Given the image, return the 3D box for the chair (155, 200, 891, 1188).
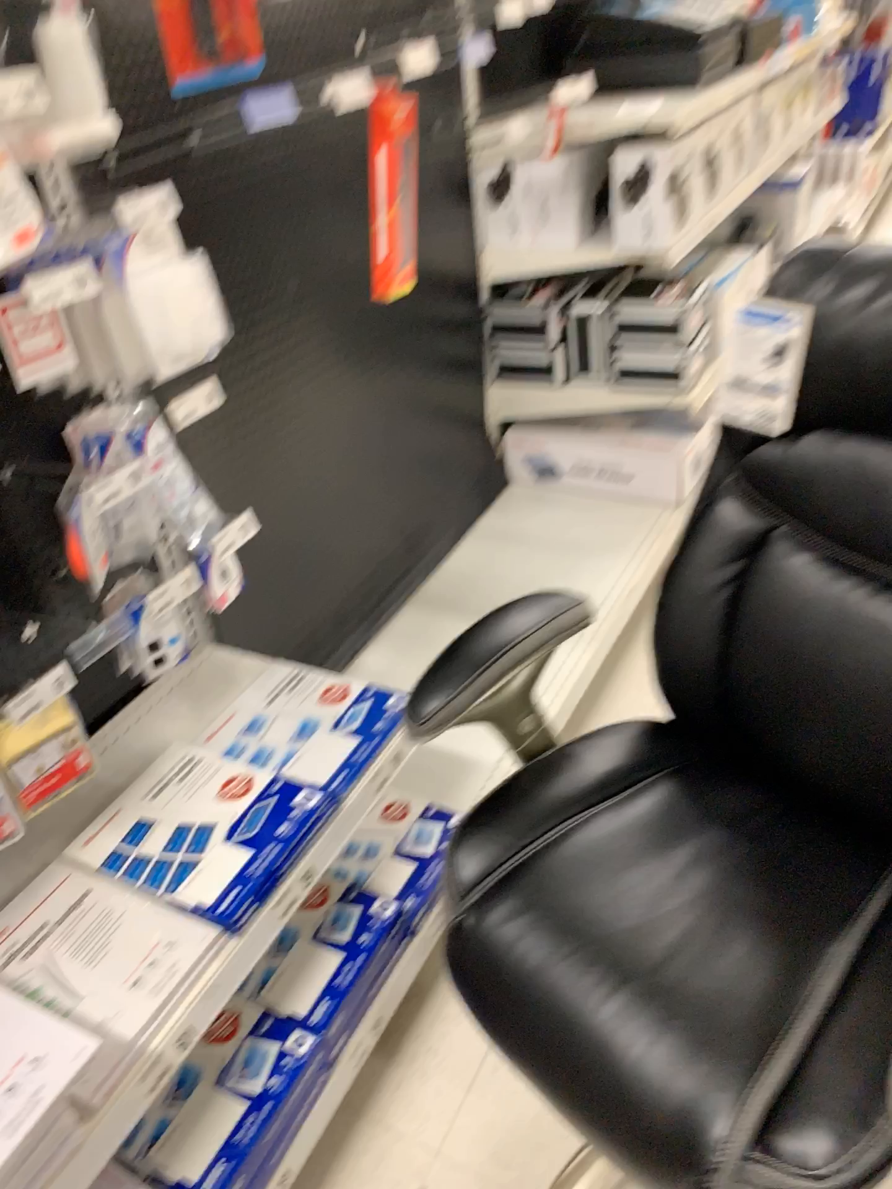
[{"bbox_3d":[0.322,0.245,1.034,0.742,1.094,0.742,-30,40,-31],"label":"chair"}]
